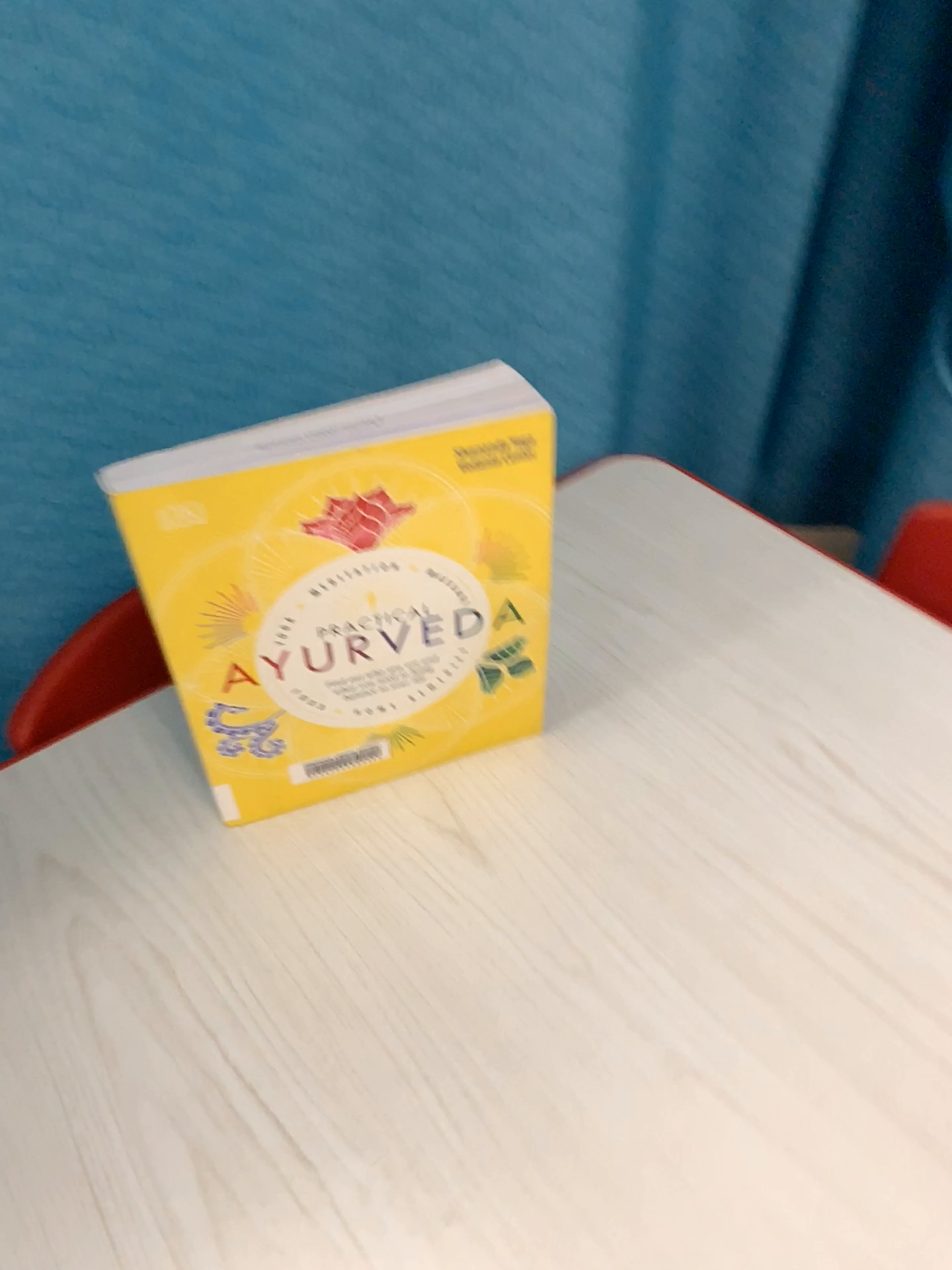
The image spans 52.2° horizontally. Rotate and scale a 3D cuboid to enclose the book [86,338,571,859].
[{"bbox_3d":[-0.060,-0.007,0.522,0.210,0.259,0.050,-16,45,-14],"label":"book"}]
